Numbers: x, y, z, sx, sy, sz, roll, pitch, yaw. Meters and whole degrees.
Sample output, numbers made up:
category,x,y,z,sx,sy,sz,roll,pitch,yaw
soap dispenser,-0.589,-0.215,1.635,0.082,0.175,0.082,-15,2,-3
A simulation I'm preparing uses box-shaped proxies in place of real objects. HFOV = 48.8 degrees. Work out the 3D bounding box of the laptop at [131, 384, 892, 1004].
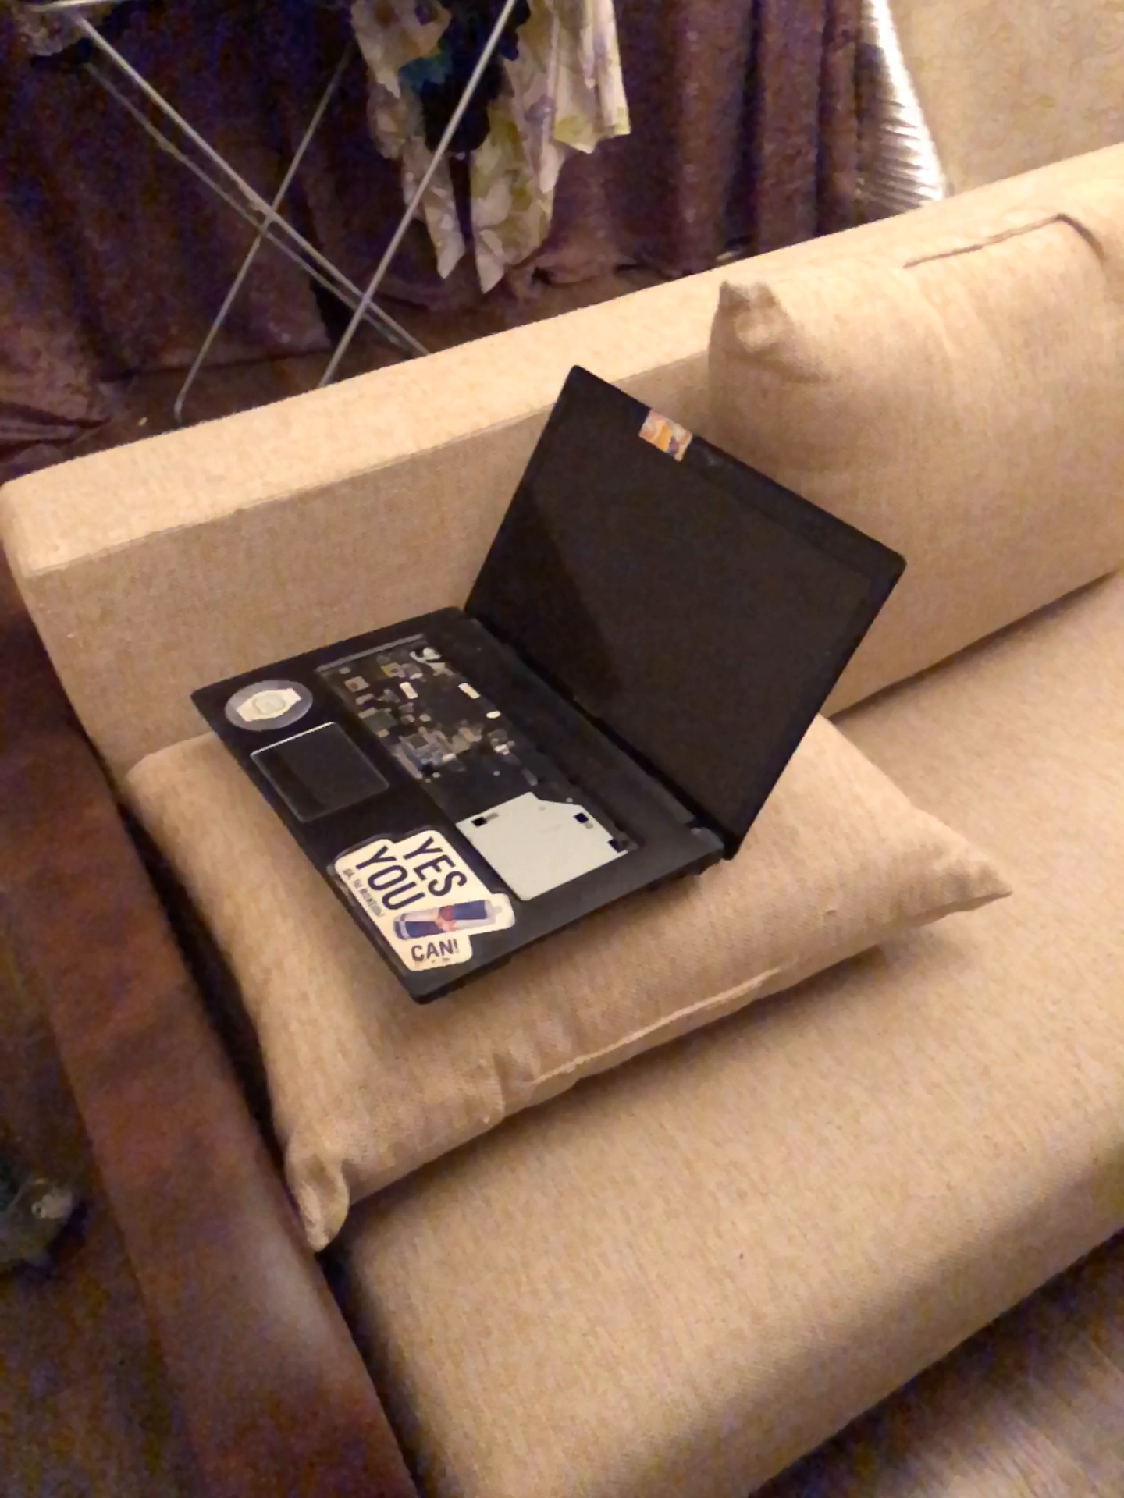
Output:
category,x,y,z,sx,sy,sz,roll,pitch,yaw
laptop,-0.048,-0.082,0.992,0.409,0.198,0.414,-24,45,-24
